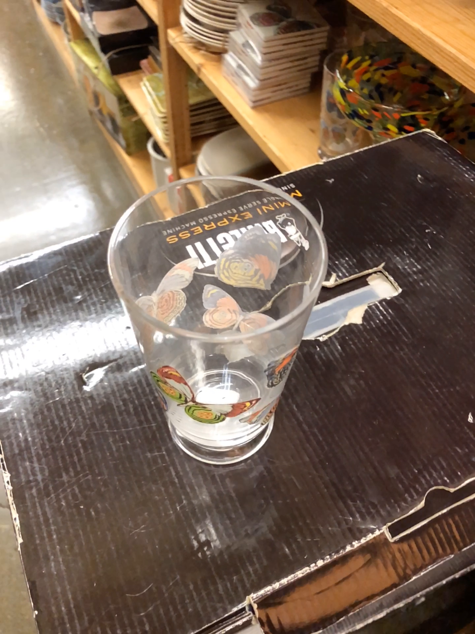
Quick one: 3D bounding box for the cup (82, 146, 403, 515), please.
[{"bbox_3d":[-0.002,0.013,0.219,0.079,0.125,0.075,0,54,0],"label":"cup"}]
